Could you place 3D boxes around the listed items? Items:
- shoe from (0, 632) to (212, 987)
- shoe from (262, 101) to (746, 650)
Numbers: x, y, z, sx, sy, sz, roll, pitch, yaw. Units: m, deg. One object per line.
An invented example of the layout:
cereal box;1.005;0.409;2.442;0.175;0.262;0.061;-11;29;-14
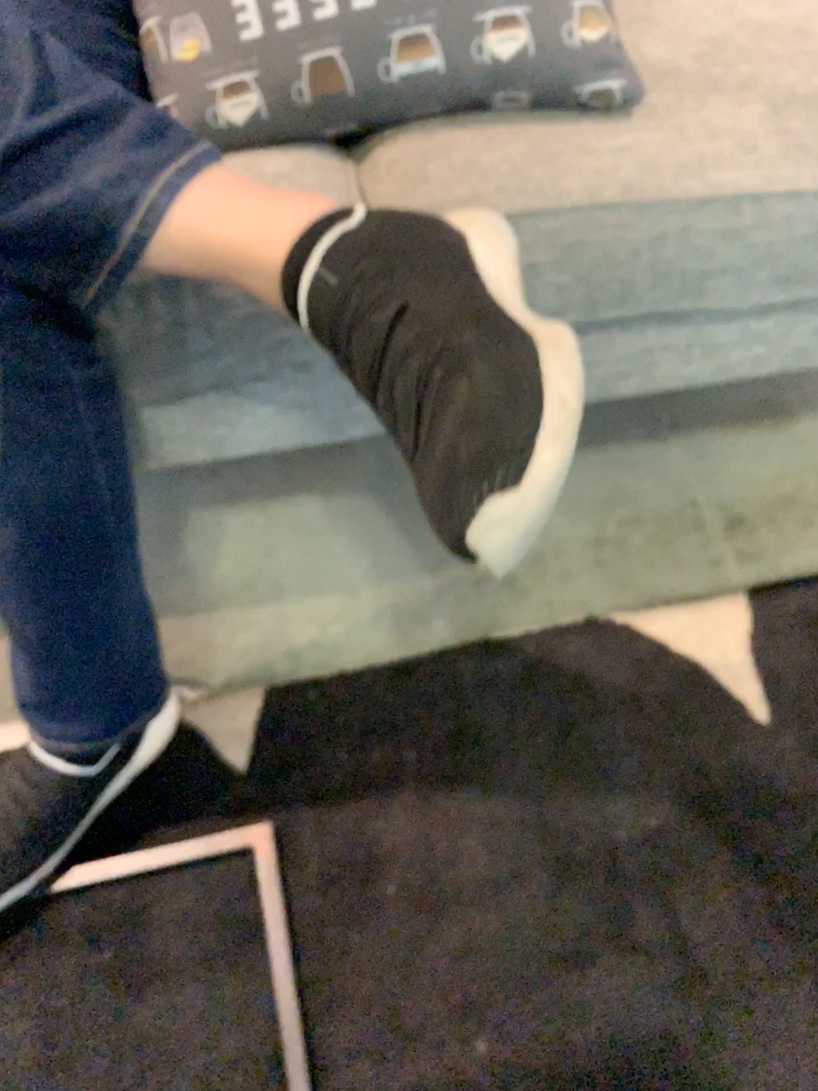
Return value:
shoe;-0.343;0.231;0.783;0.116;0.074;0.303;39;65;22
shoe;0.012;-0.094;0.403;0.132;0.112;0.277;2;43;-16
